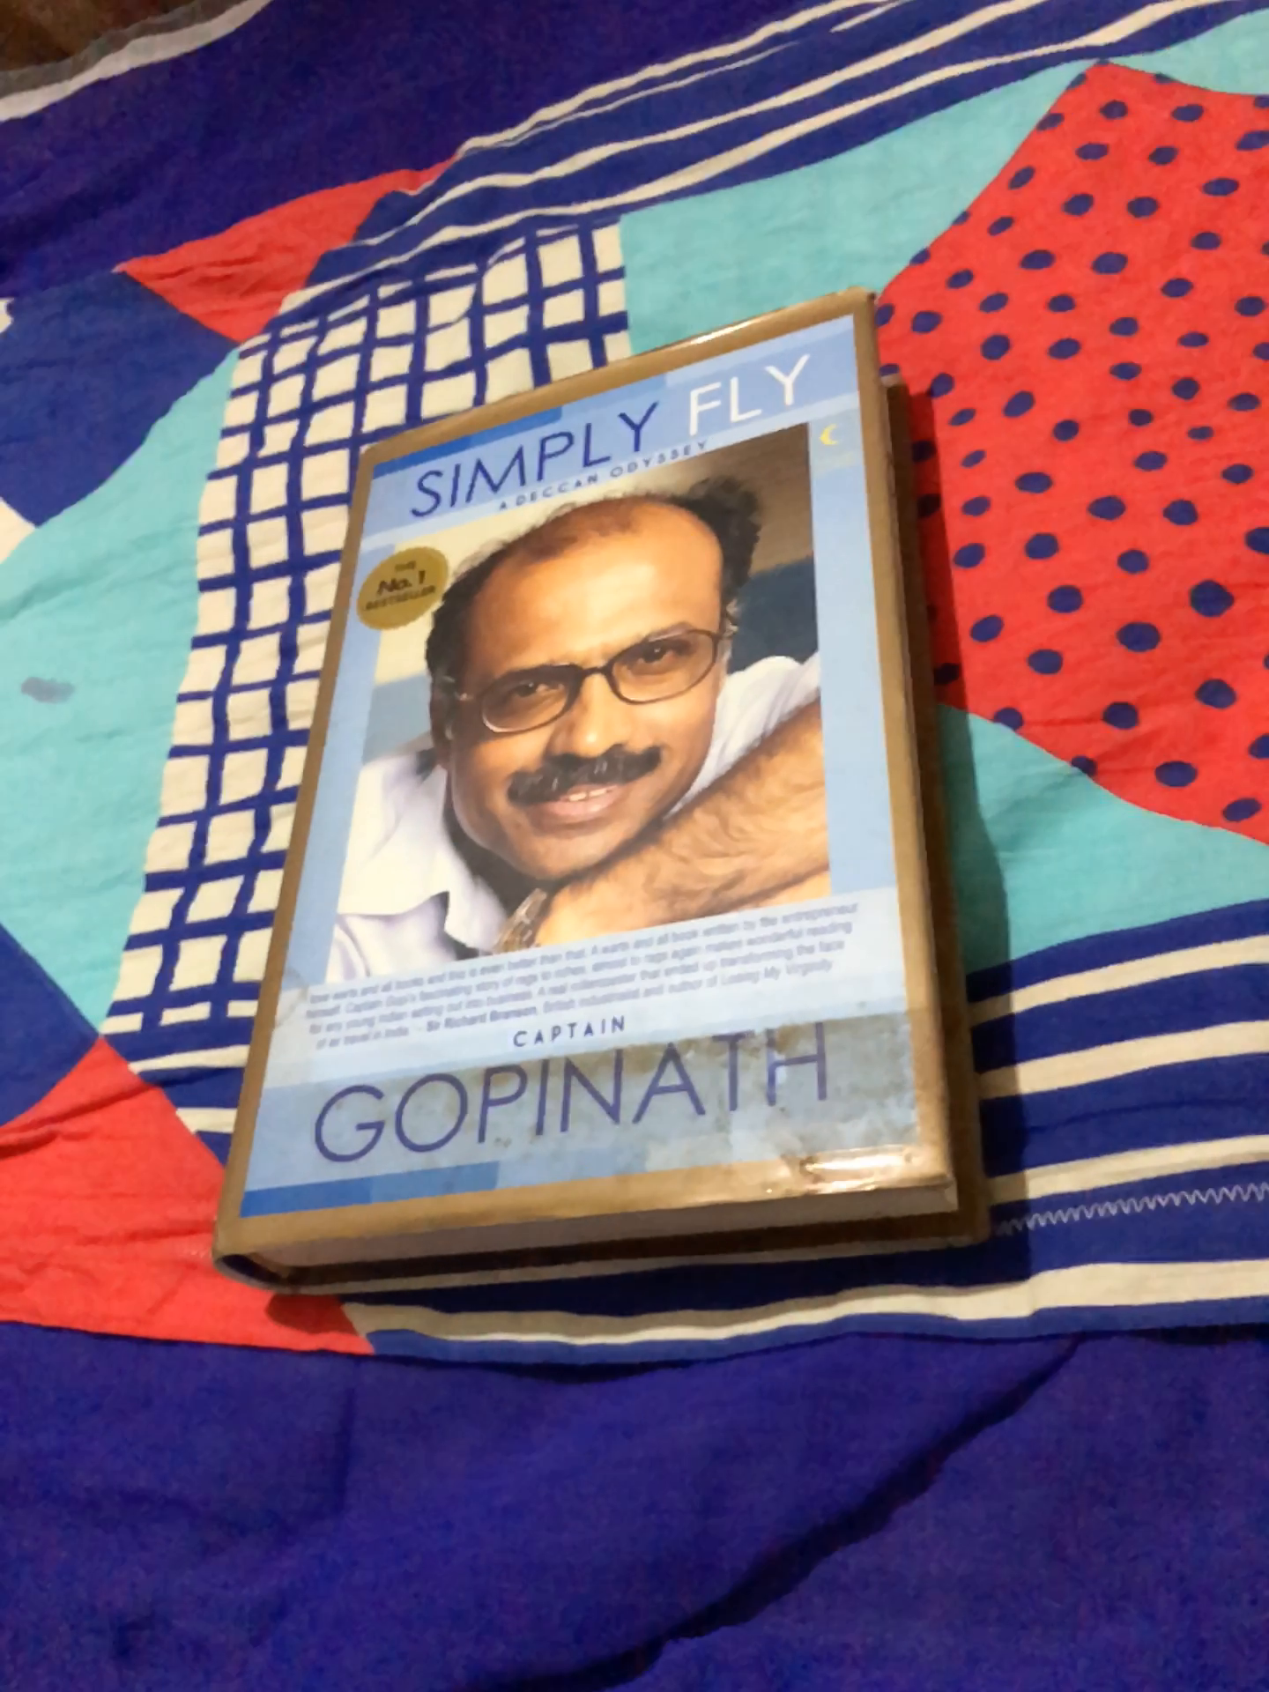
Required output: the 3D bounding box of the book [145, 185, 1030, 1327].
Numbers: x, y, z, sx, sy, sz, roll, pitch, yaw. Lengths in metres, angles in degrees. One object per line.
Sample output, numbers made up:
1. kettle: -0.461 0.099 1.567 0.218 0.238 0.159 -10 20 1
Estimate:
1. book: -0.009 -0.028 0.330 0.160 0.050 0.251 -11 58 19
